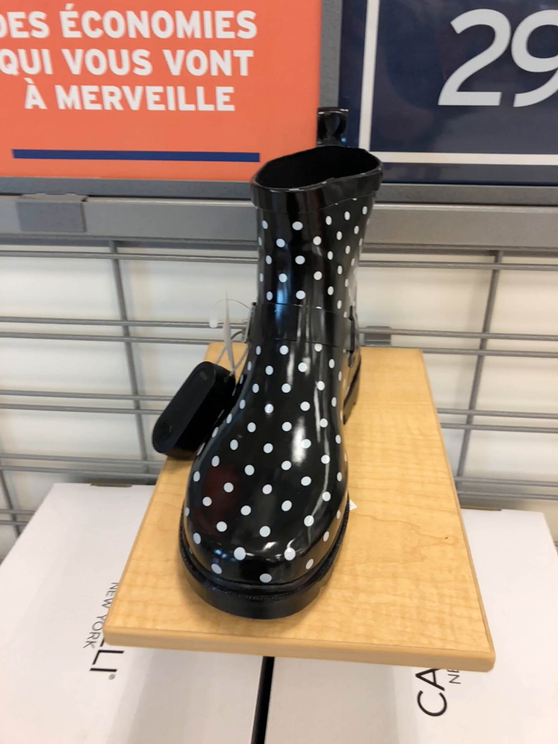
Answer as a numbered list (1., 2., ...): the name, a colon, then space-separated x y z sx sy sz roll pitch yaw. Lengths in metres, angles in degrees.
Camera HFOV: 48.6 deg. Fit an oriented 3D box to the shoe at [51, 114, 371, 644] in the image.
1. shoe: -0.006 -0.026 0.355 0.095 0.188 0.262 4 31 8
